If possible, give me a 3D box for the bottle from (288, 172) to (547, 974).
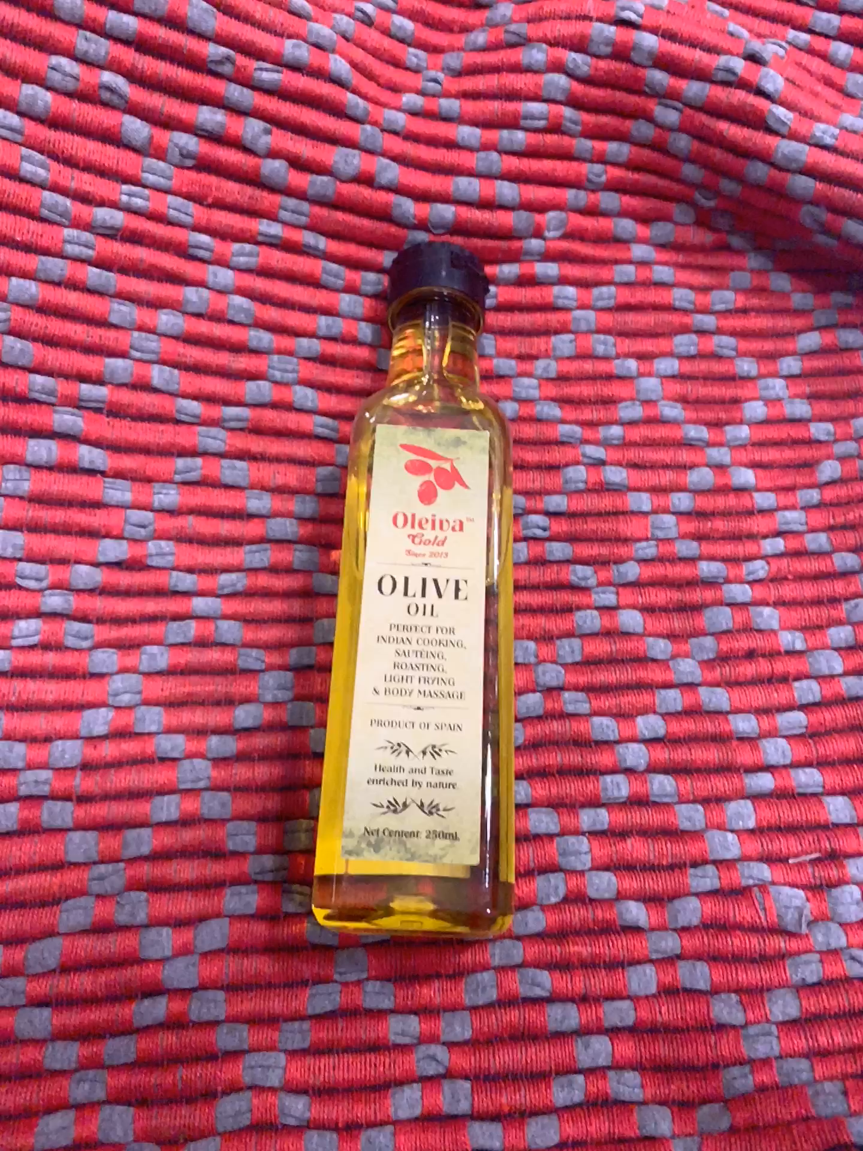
[{"bbox_3d":[0.000,-0.010,0.239,0.050,0.050,0.210,2,65,-1],"label":"bottle"}]
